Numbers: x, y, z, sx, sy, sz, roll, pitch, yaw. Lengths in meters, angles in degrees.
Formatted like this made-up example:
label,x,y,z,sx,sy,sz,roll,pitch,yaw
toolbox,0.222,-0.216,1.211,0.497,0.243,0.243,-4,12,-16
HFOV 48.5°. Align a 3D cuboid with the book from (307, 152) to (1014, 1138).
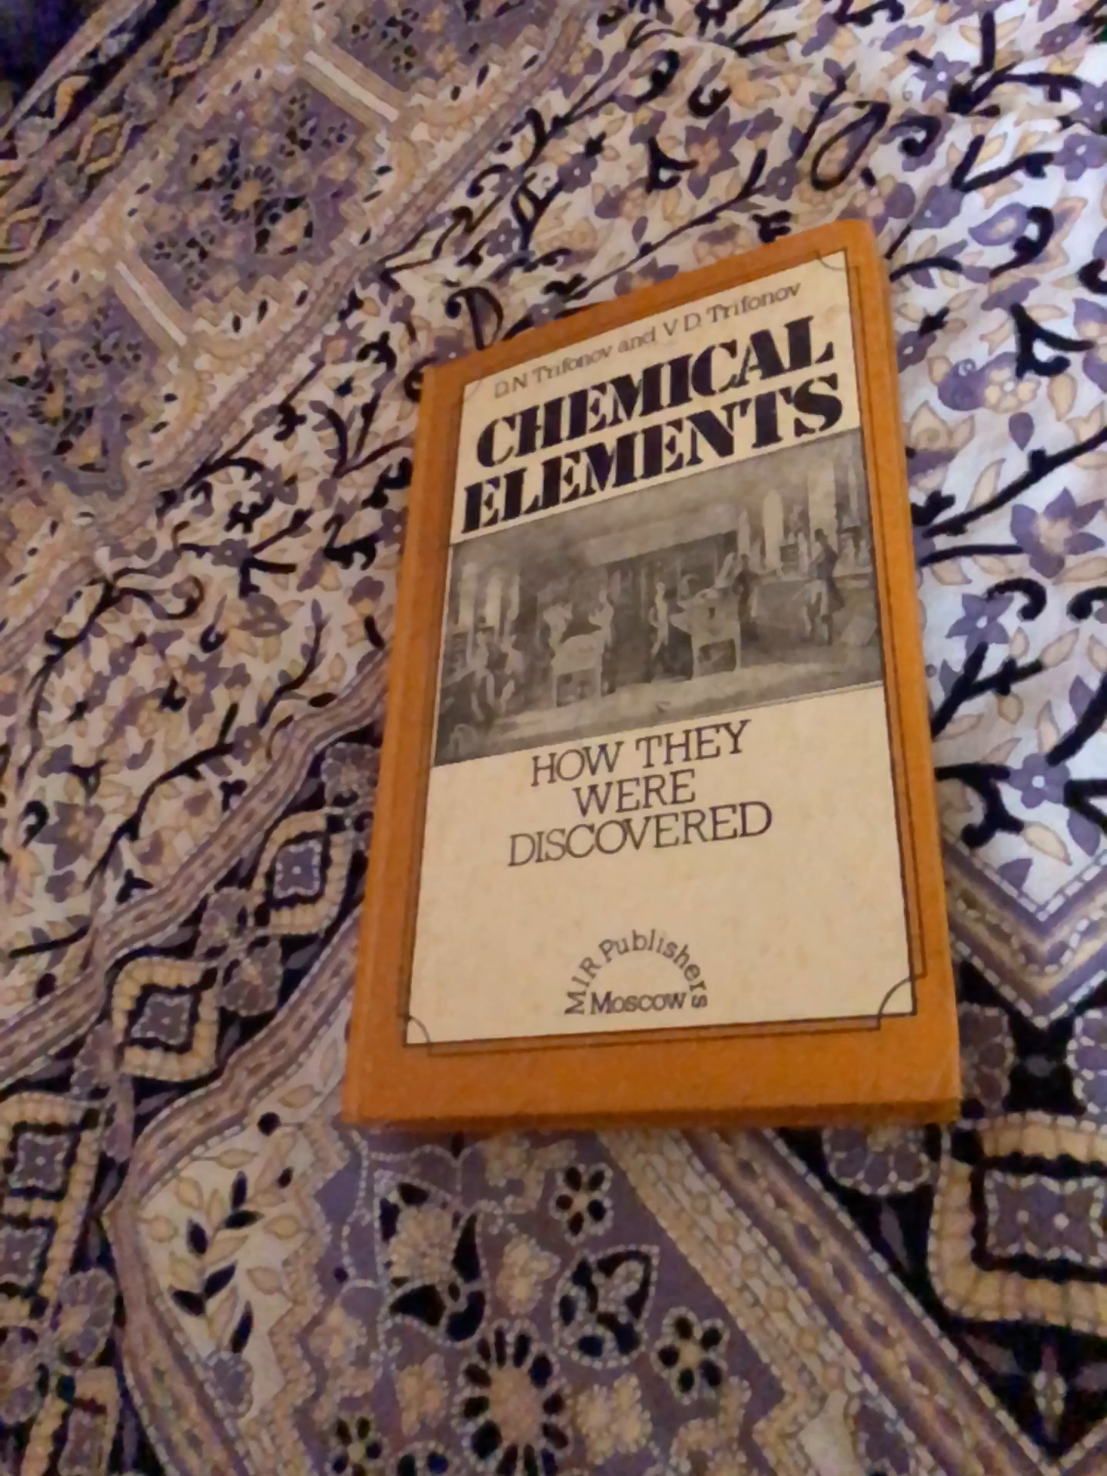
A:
label,x,y,z,sx,sy,sz,roll,pitch,yaw
book,0.020,-0.024,0.291,0.140,0.030,0.220,-11,62,26
